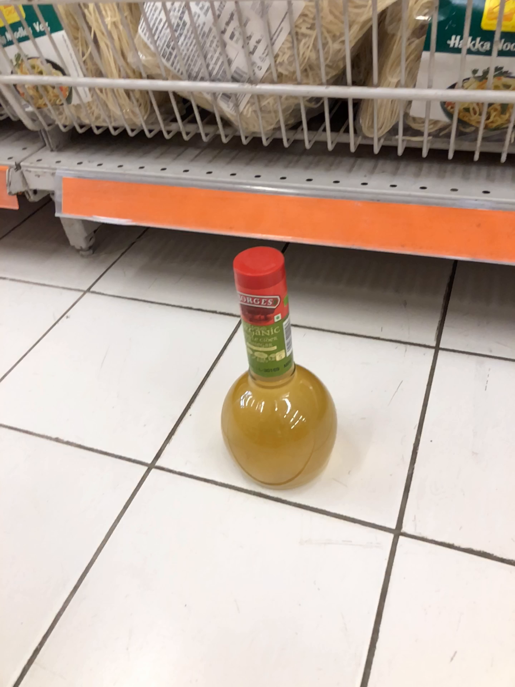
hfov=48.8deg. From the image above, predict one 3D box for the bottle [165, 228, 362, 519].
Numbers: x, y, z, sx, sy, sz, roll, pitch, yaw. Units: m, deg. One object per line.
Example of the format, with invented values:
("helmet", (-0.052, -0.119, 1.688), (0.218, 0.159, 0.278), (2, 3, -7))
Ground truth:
("bottle", (0.015, 0.023, 0.392), (0.090, 0.169, 0.091), (-5, 40, 4))
